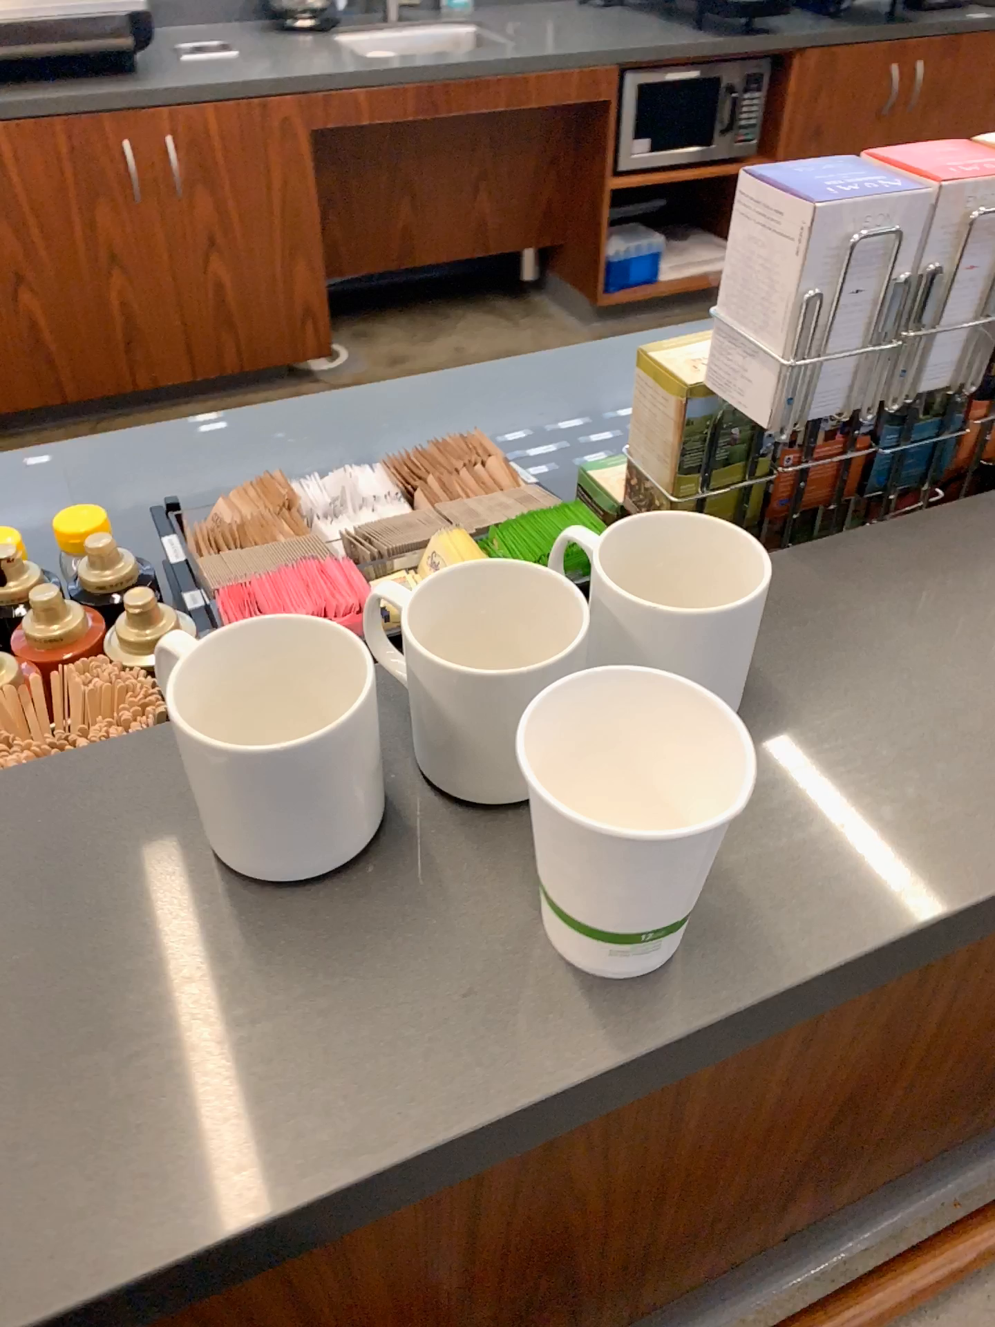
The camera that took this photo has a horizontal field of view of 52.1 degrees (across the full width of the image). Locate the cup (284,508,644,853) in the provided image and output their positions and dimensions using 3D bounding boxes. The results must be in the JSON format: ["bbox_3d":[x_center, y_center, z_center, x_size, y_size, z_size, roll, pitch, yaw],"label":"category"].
[{"bbox_3d":[-0.015,0.002,0.490,0.130,0.080,0.100,27,47,27],"label":"cup"}]

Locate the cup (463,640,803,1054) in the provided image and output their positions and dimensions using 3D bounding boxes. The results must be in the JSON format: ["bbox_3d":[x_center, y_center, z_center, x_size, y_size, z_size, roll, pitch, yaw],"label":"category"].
[{"bbox_3d":[0.046,0.071,0.403,0.090,0.109,0.091,0,41,0],"label":"cup"}]

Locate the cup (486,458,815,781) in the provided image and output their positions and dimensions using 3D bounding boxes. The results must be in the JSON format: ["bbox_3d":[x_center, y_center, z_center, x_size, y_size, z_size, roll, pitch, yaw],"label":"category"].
[{"bbox_3d":[0.076,-0.028,0.539,0.130,0.089,0.100,29,48,29],"label":"cup"}]

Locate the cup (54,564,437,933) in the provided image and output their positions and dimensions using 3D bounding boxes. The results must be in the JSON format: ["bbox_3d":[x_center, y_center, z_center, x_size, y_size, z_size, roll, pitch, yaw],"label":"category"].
[{"bbox_3d":[-0.107,0.032,0.453,0.130,0.080,0.090,26,47,26],"label":"cup"}]
